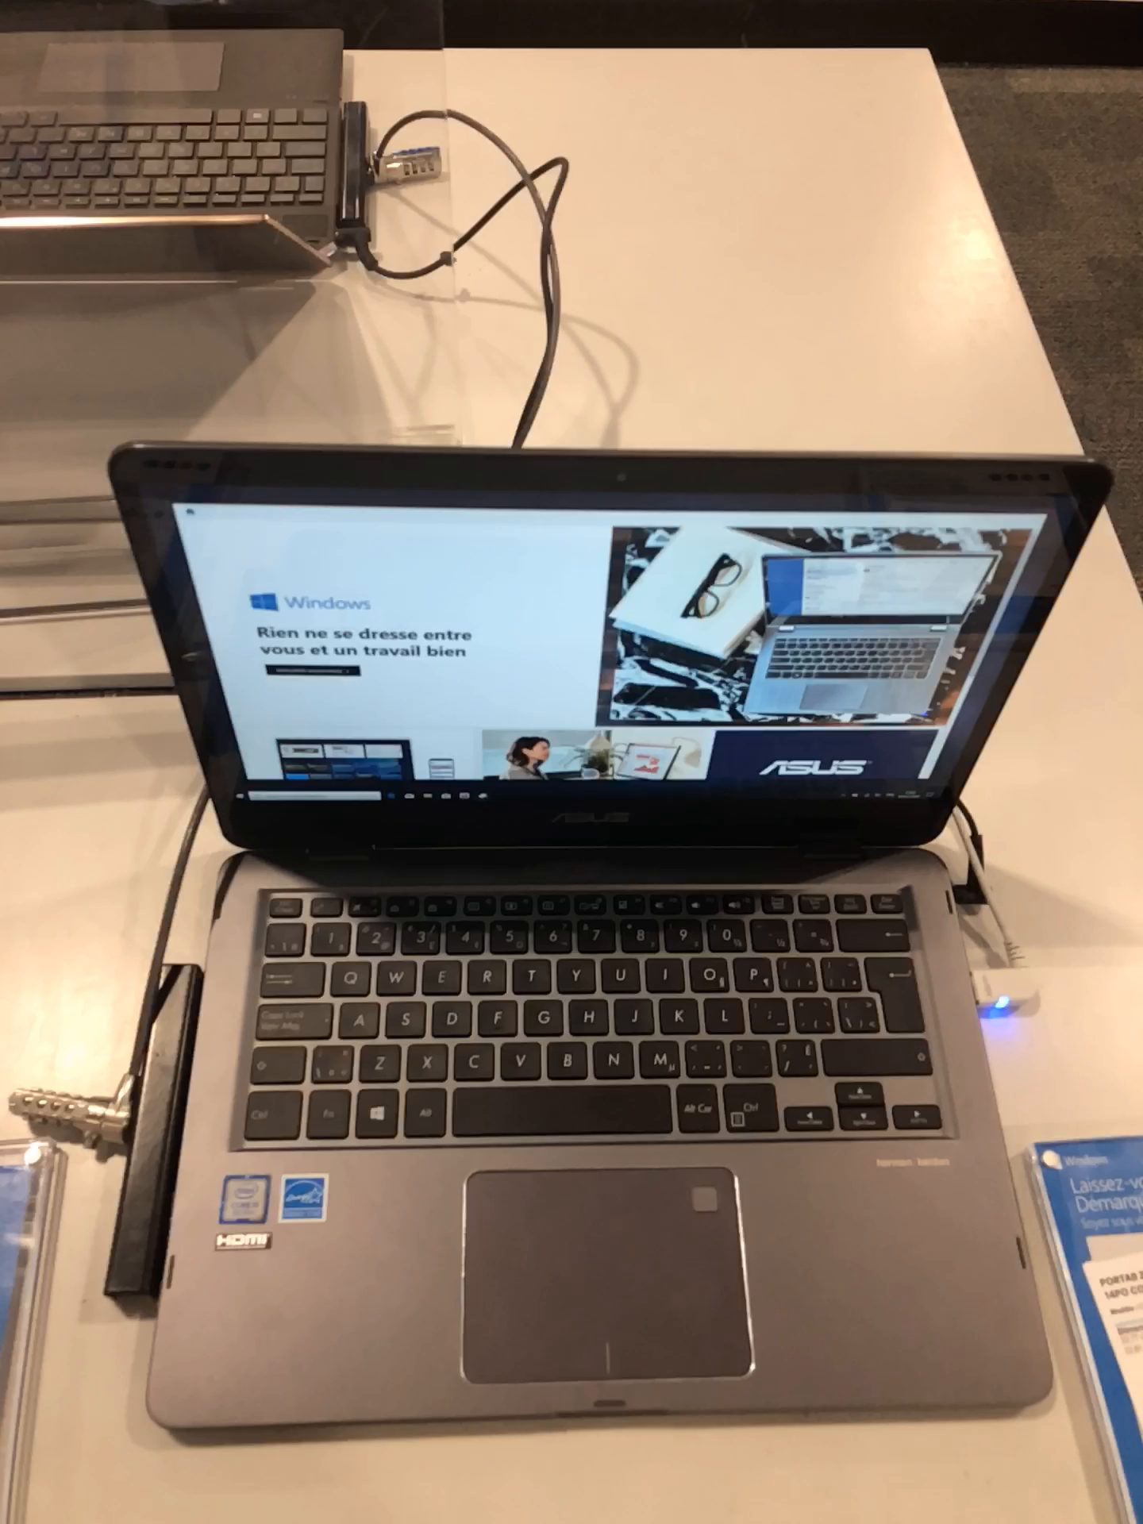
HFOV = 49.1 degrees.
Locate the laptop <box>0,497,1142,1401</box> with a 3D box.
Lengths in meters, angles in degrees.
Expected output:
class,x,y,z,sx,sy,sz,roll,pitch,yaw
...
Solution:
class,x,y,z,sx,sy,sz,roll,pitch,yaw
laptop,0.013,0.069,0.404,0.302,0.217,0.224,0,56,-2
